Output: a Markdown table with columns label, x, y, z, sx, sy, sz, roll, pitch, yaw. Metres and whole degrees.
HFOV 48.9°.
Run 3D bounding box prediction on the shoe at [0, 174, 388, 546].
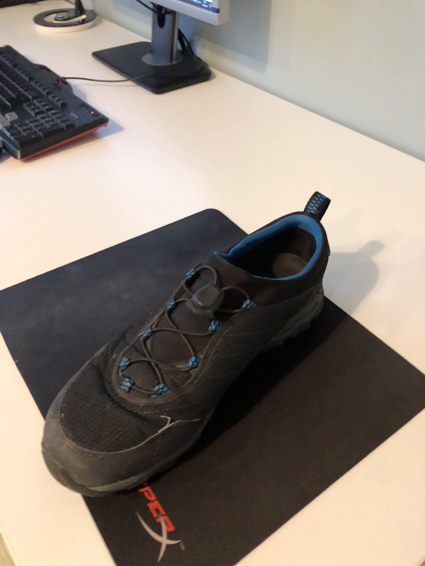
| label | x | y | z | sx | sy | sz | roll | pitch | yaw |
| --- | --- | --- | --- | --- | --- | --- | --- | --- | --- |
| shoe | -0.005 | 0.036 | 0.393 | 0.301 | 0.109 | 0.130 | -34 | 52 | -30 |
